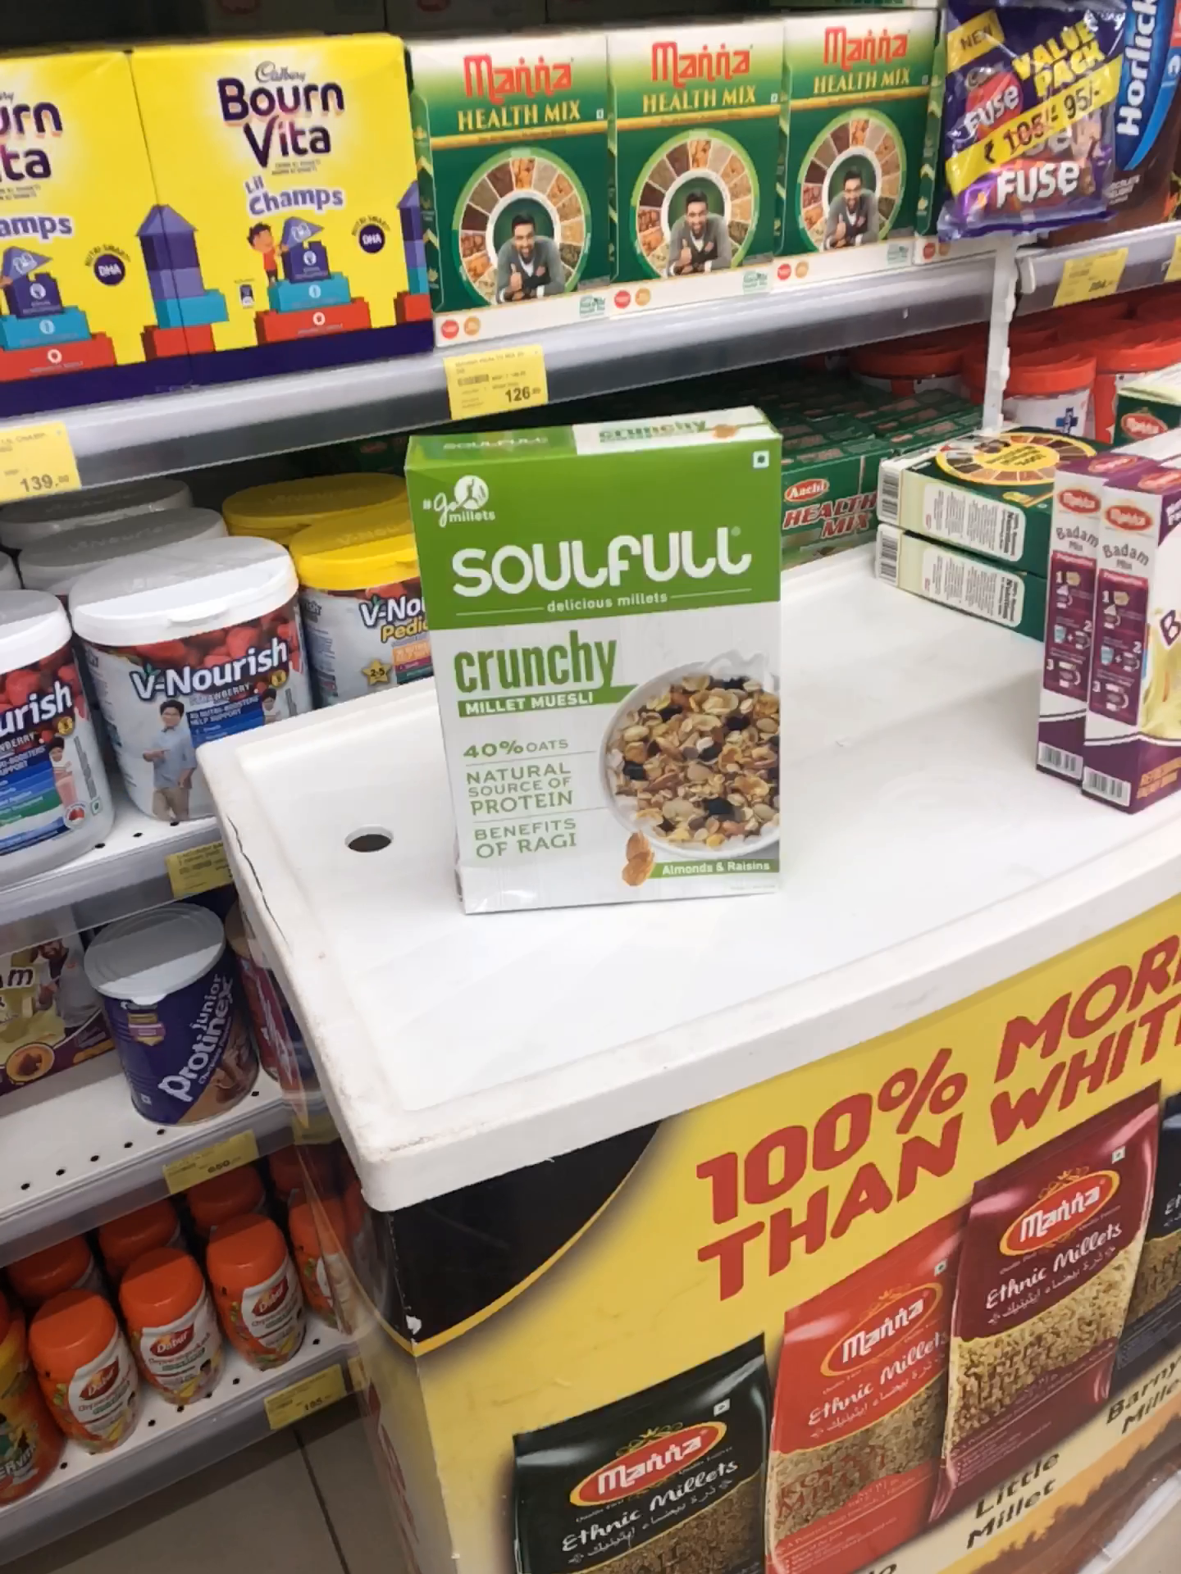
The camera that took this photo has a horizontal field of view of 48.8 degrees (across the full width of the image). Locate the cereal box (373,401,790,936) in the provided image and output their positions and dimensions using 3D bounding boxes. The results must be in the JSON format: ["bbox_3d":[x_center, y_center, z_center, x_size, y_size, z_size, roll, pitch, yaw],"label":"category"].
[{"bbox_3d":[0.005,-0.053,0.661,0.180,0.249,0.070,-5,31,1],"label":"cereal box"}]
